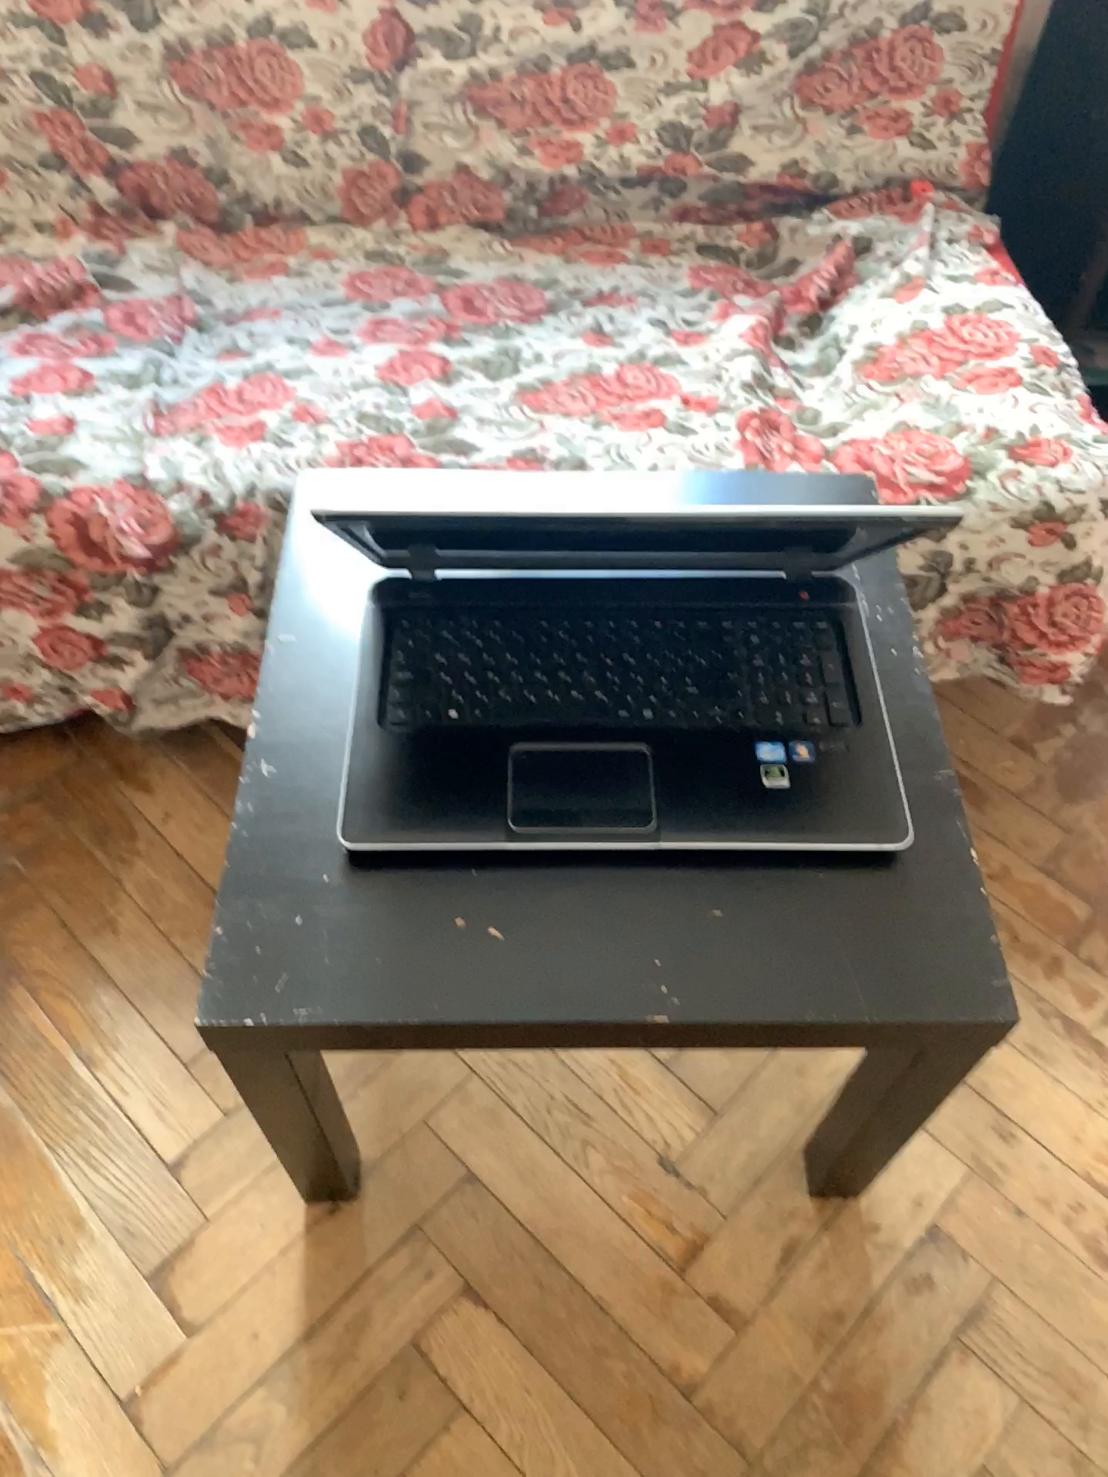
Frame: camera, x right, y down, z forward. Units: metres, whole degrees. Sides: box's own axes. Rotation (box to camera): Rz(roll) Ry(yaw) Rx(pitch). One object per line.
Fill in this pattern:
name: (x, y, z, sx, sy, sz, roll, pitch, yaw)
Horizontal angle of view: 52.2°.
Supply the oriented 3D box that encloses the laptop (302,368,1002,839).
laptop: (0.054, -0.094, 0.805, 0.404, 0.201, 0.258, 0, 54, -2)
